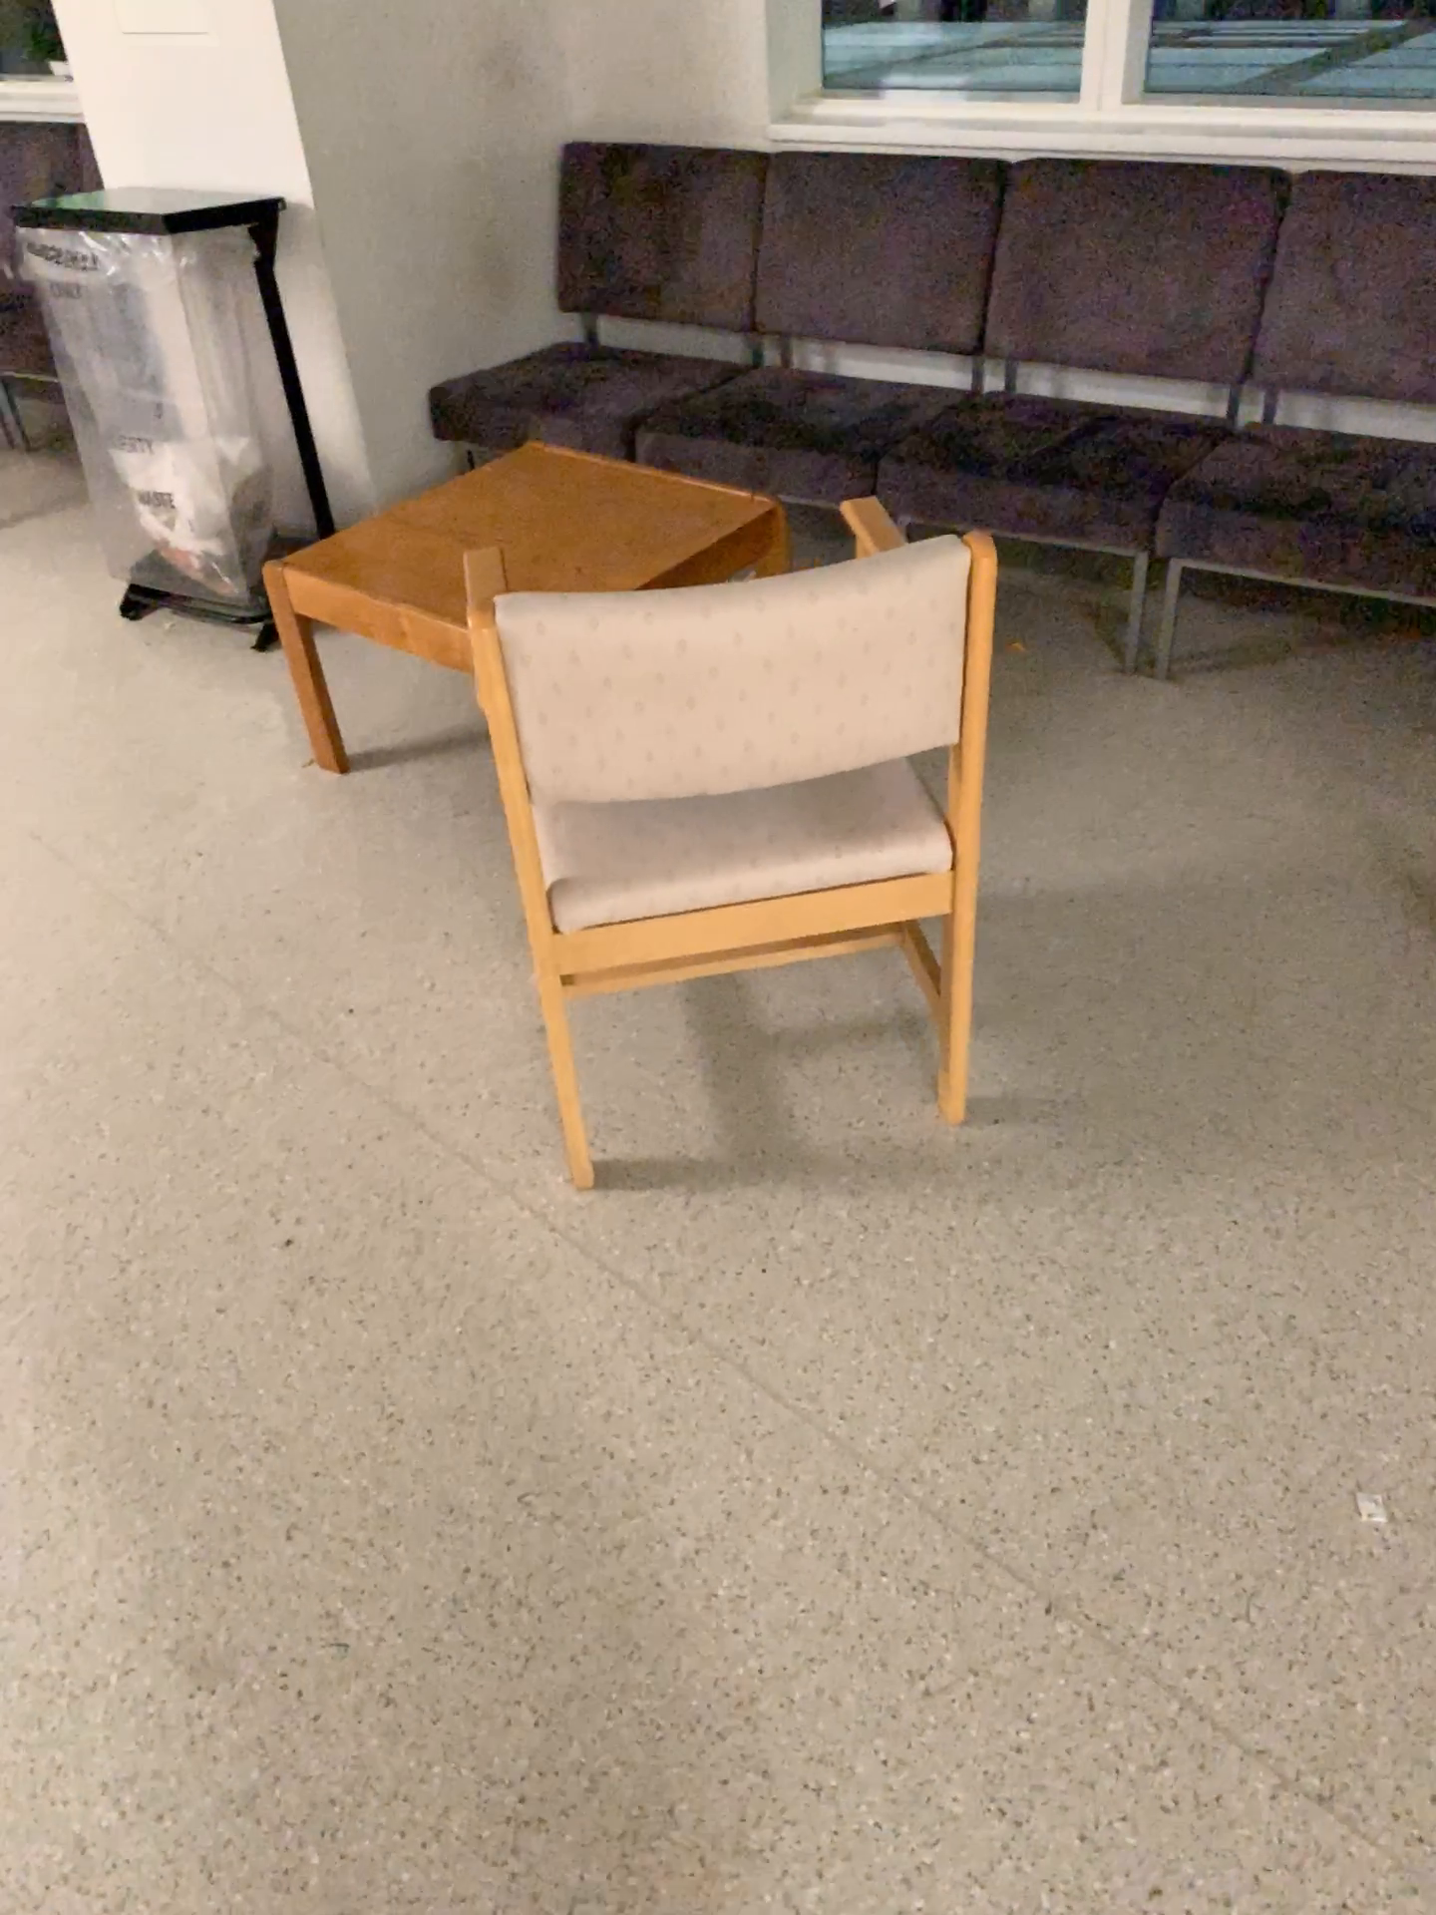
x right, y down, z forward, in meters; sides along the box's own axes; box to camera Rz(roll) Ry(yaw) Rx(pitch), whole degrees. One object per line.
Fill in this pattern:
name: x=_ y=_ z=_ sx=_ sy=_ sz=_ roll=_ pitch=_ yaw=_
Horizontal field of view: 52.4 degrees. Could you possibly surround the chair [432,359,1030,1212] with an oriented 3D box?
chair: x=0.001 y=-0.199 z=1.683 sx=0.510 sy=0.752 sz=0.515 roll=-9 pitch=37 yaw=-6
